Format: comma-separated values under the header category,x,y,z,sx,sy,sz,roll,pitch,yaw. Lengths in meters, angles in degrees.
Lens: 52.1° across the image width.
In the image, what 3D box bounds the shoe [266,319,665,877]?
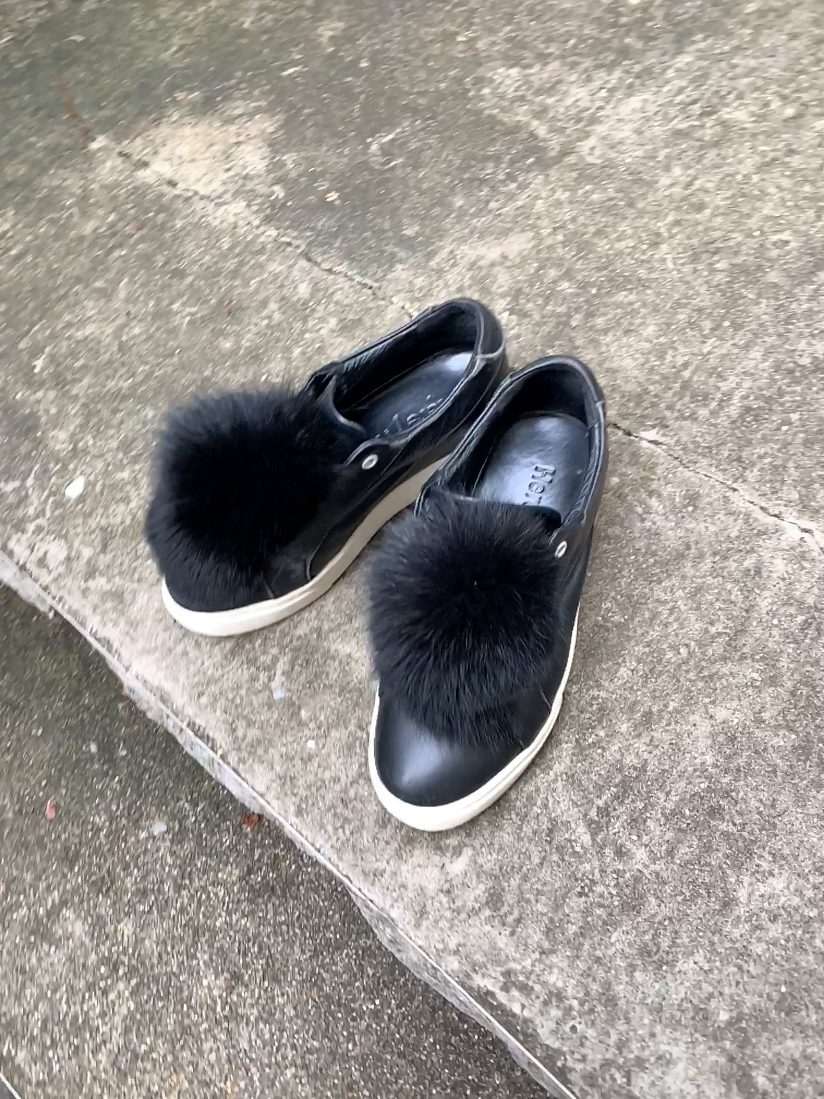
category,x,y,z,sx,sy,sz,roll,pitch,yaw
shoe,0.039,0.018,0.422,0.098,0.097,0.244,17,67,18

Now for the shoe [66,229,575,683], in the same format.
category,x,y,z,sx,sy,sz,roll,pitch,yaw
shoe,-0.041,-0.054,0.489,0.269,0.097,0.095,-36,62,-9
